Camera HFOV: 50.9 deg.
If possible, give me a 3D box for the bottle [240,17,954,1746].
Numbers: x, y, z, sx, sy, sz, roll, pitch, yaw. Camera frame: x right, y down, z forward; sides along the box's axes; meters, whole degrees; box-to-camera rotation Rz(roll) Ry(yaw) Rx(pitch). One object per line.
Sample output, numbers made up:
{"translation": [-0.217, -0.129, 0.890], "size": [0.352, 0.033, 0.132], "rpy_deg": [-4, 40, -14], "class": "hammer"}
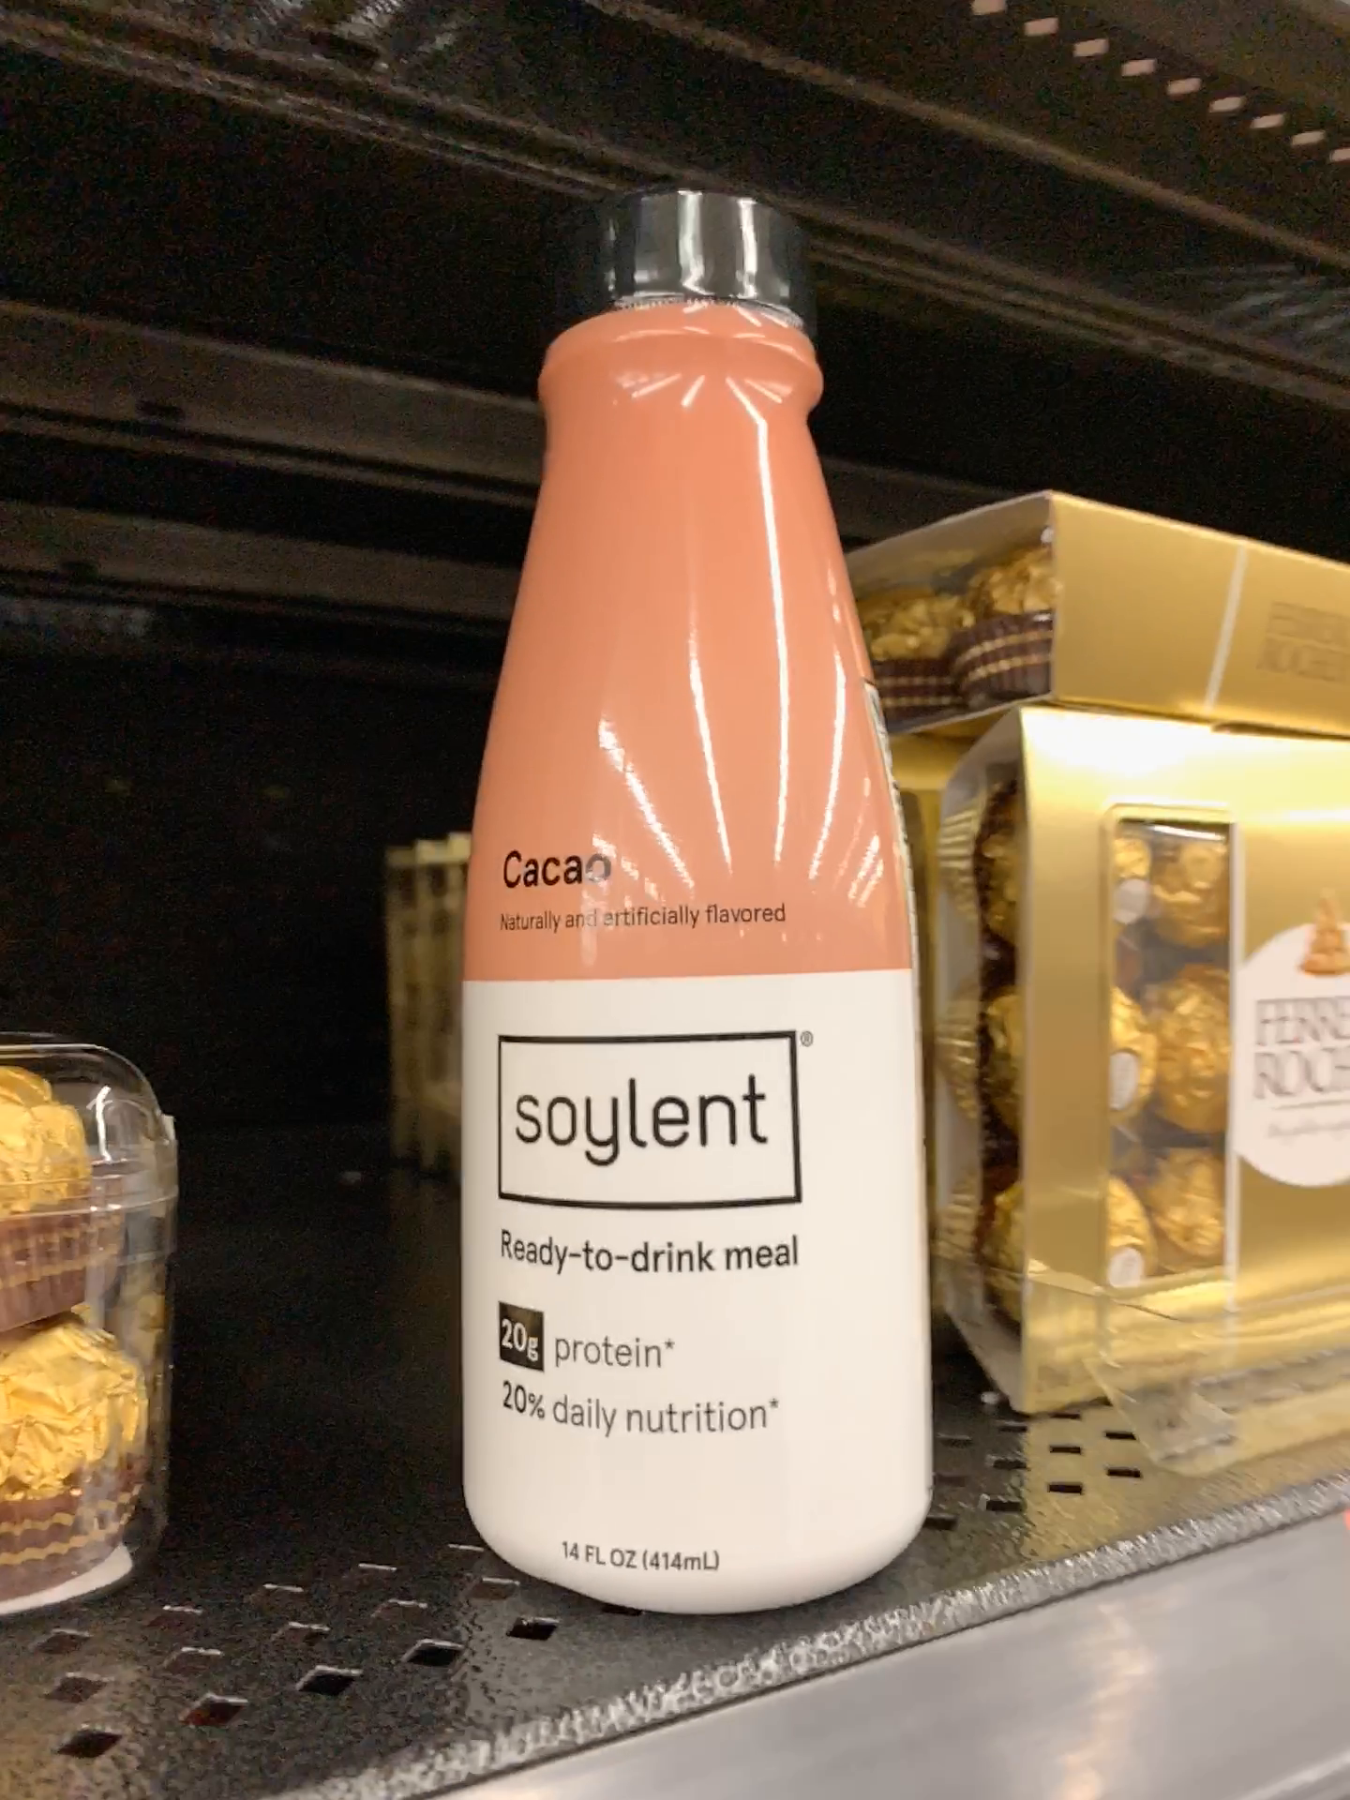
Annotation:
{"translation": [-0.005, -0.003, 0.202], "size": [0.080, 0.190, 0.070], "rpy_deg": [0, -1, 19], "class": "bottle"}
